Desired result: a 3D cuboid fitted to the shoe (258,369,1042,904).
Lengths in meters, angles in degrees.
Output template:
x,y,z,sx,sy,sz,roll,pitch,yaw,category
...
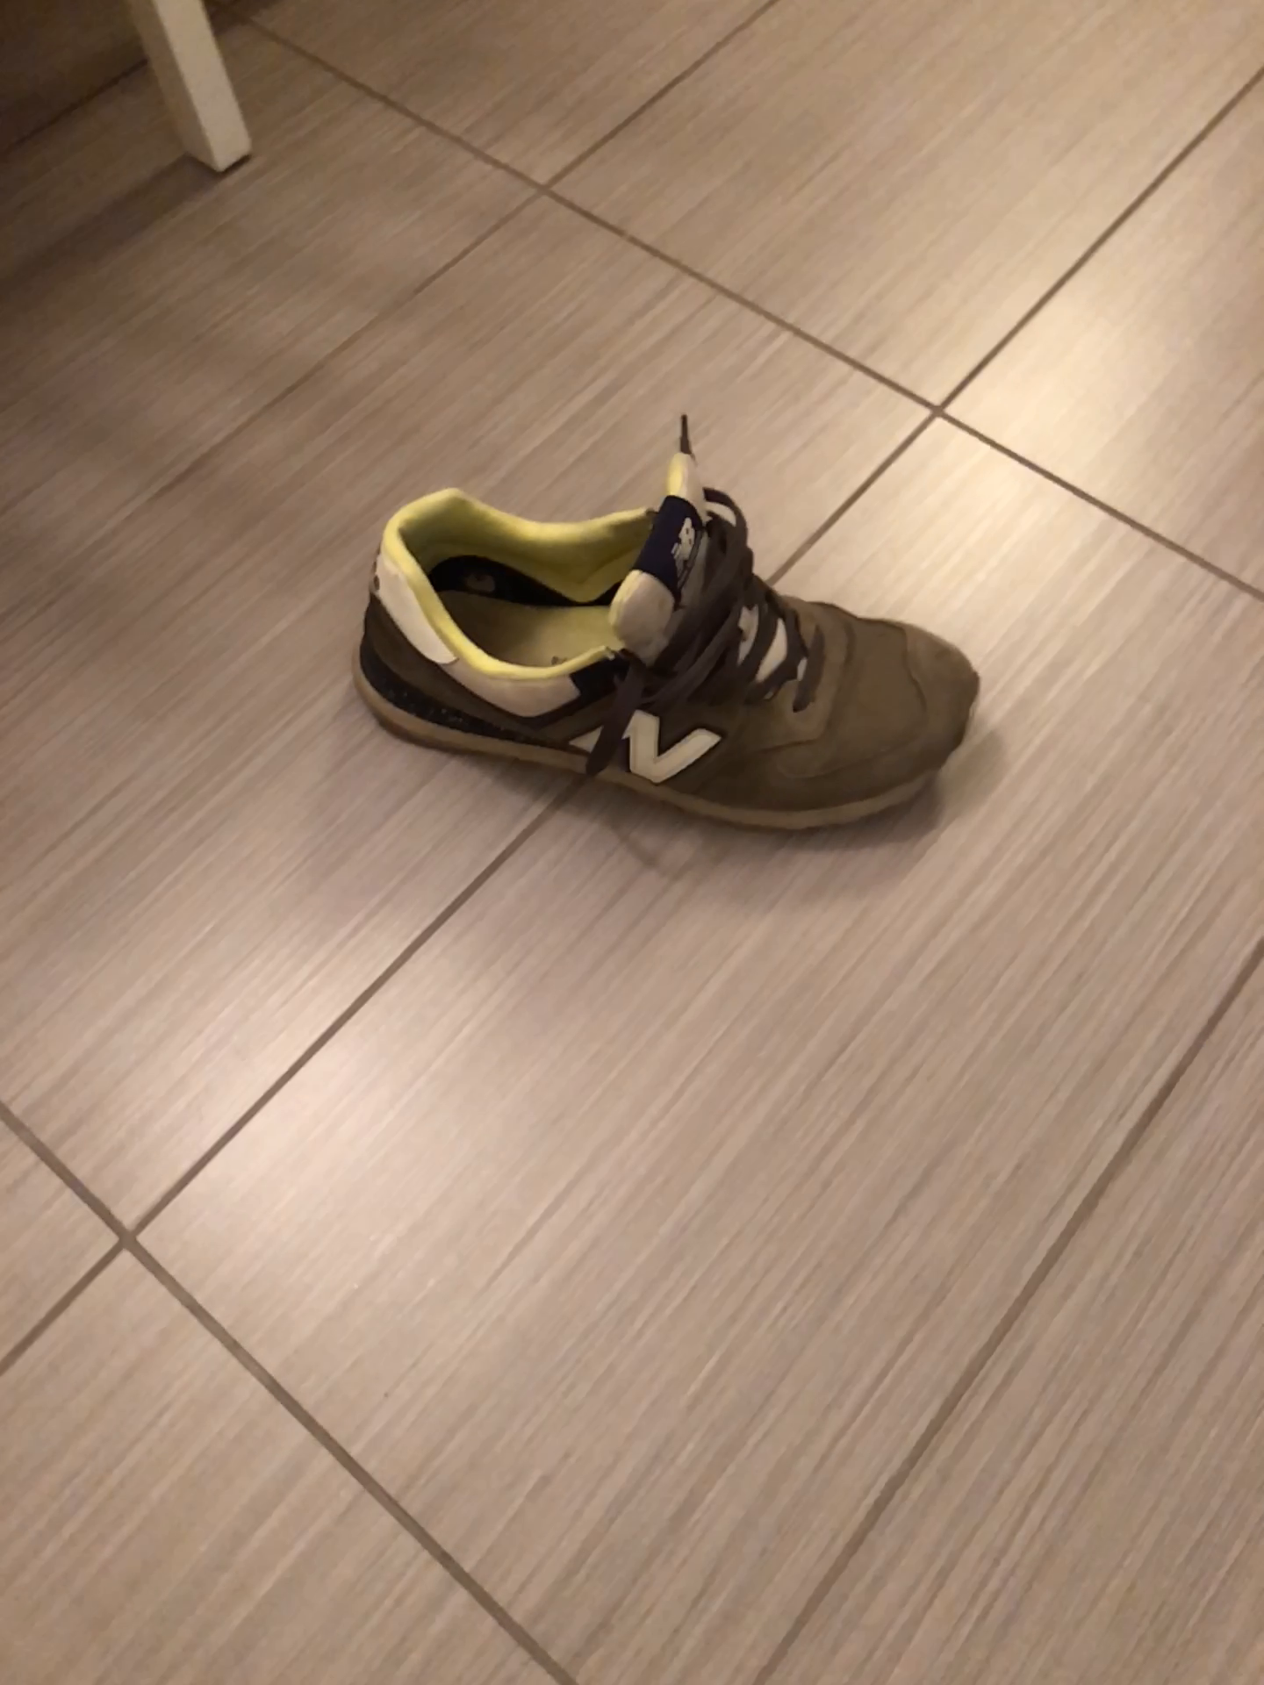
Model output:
x,y,z,sx,sy,sz,roll,pitch,yaw,category
0.009,-0.097,0.646,0.310,0.110,0.130,17,65,11,shoe
